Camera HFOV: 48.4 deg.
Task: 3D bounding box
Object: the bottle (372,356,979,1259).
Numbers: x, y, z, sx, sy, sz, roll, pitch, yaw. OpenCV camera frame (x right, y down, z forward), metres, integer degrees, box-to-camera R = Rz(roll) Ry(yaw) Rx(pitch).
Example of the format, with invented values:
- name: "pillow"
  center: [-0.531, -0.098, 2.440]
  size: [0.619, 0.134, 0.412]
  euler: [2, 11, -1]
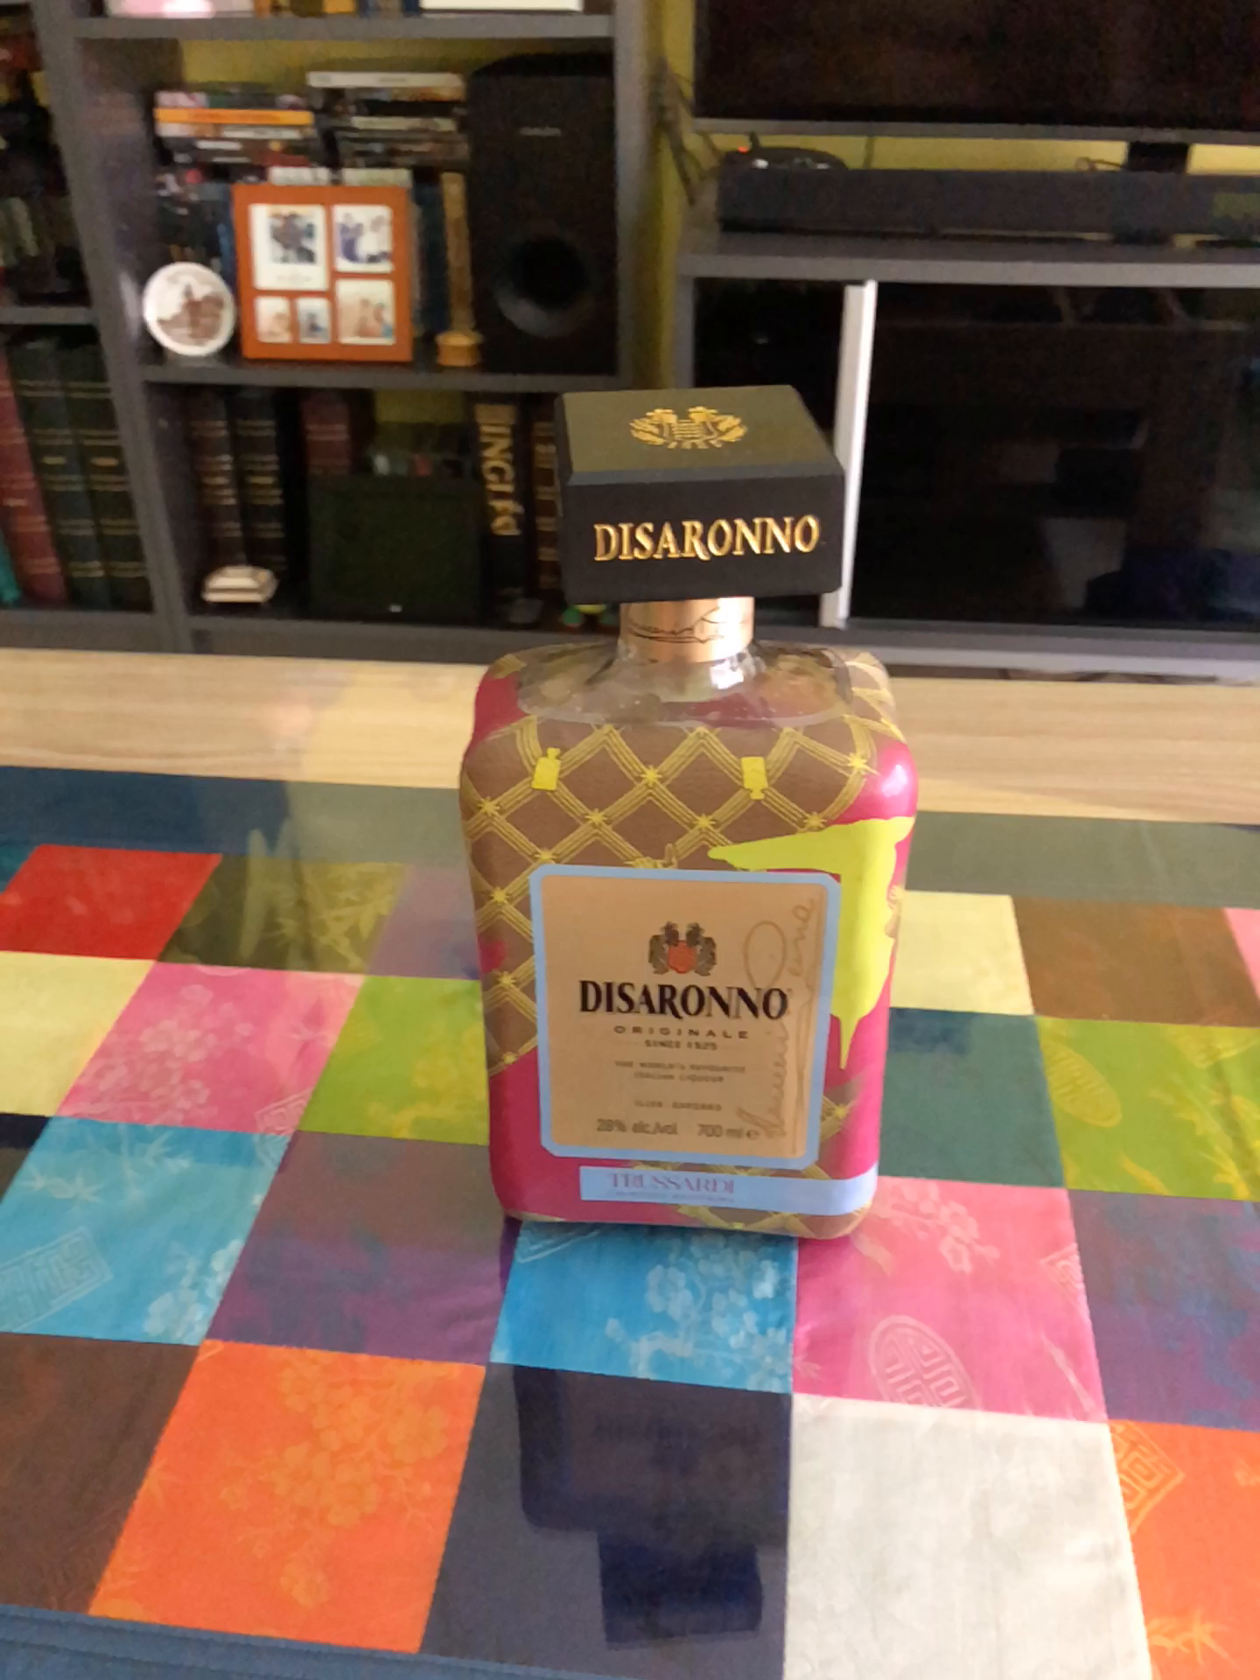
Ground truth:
- name: "bottle"
  center: [0.013, -0.001, 0.373]
  size: [0.120, 0.229, 0.080]
  euler: [2, 34, 4]
